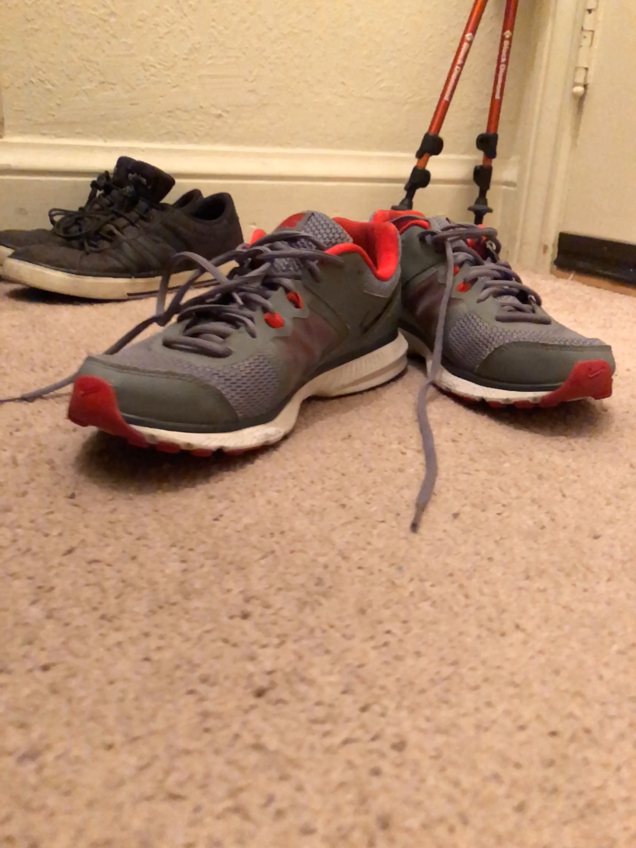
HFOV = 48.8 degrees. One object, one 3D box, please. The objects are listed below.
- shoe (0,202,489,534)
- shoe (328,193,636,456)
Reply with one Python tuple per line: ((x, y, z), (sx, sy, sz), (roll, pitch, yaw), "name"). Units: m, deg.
((-0.020, -0.063, 0.432), (0.113, 0.120, 0.298), (19, 27, 34), "shoe")
((0.117, -0.098, 0.531), (0.113, 0.120, 0.298), (-6, 24, -20), "shoe")
